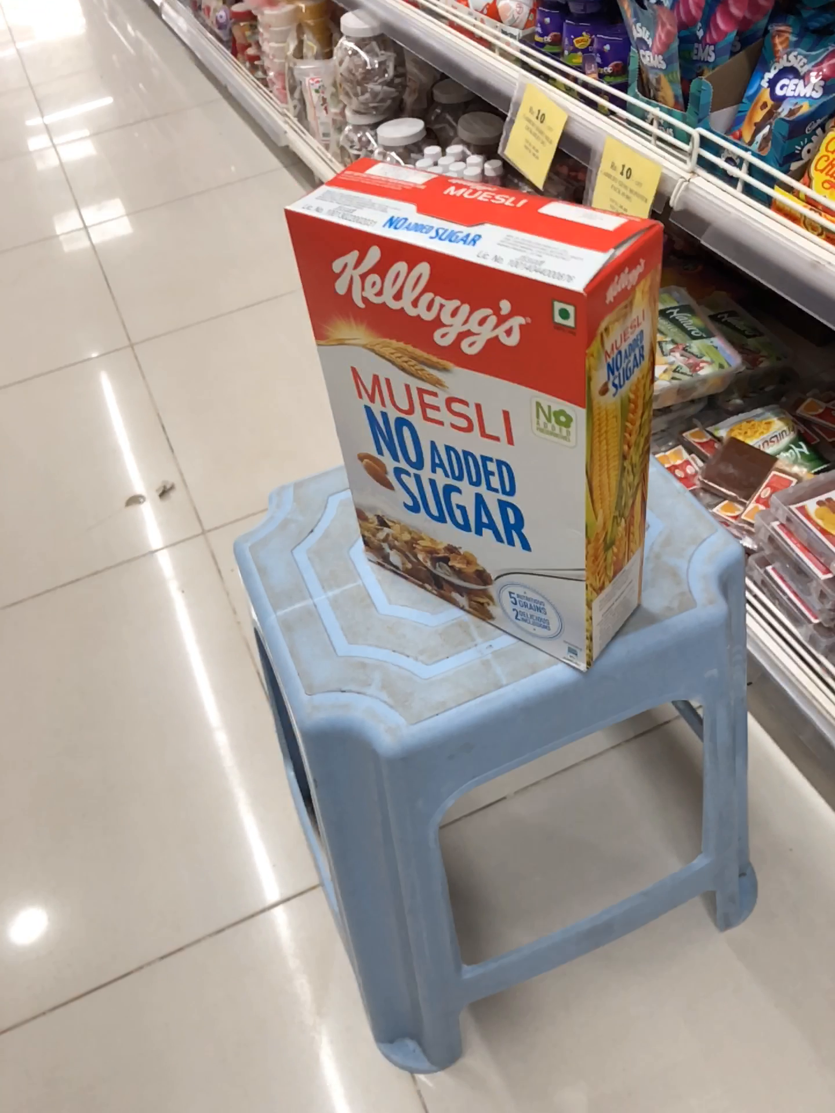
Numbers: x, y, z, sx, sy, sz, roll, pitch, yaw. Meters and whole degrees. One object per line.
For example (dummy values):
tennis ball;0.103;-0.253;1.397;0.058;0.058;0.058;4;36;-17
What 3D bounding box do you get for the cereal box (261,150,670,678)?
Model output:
cereal box;0.032;-0.075;0.530;0.191;0.259;0.070;26;55;31
